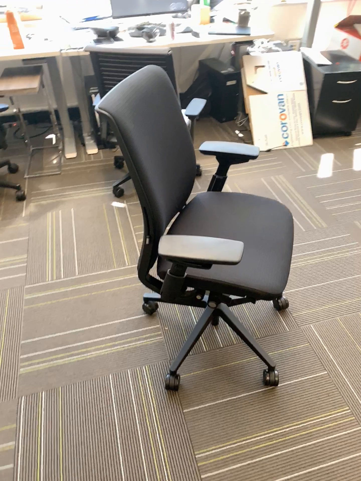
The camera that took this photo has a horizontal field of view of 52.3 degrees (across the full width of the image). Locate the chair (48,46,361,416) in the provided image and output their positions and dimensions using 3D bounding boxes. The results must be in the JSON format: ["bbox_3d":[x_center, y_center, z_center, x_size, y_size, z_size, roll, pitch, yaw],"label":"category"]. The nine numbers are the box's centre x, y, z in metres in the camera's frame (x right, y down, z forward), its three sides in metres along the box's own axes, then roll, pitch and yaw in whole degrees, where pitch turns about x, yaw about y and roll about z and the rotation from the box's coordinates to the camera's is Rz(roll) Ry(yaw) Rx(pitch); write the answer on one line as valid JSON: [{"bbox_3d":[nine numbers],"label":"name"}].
[{"bbox_3d":[0.141,-0.039,1.315,0.671,0.994,0.754,8,42,11],"label":"chair"}]
